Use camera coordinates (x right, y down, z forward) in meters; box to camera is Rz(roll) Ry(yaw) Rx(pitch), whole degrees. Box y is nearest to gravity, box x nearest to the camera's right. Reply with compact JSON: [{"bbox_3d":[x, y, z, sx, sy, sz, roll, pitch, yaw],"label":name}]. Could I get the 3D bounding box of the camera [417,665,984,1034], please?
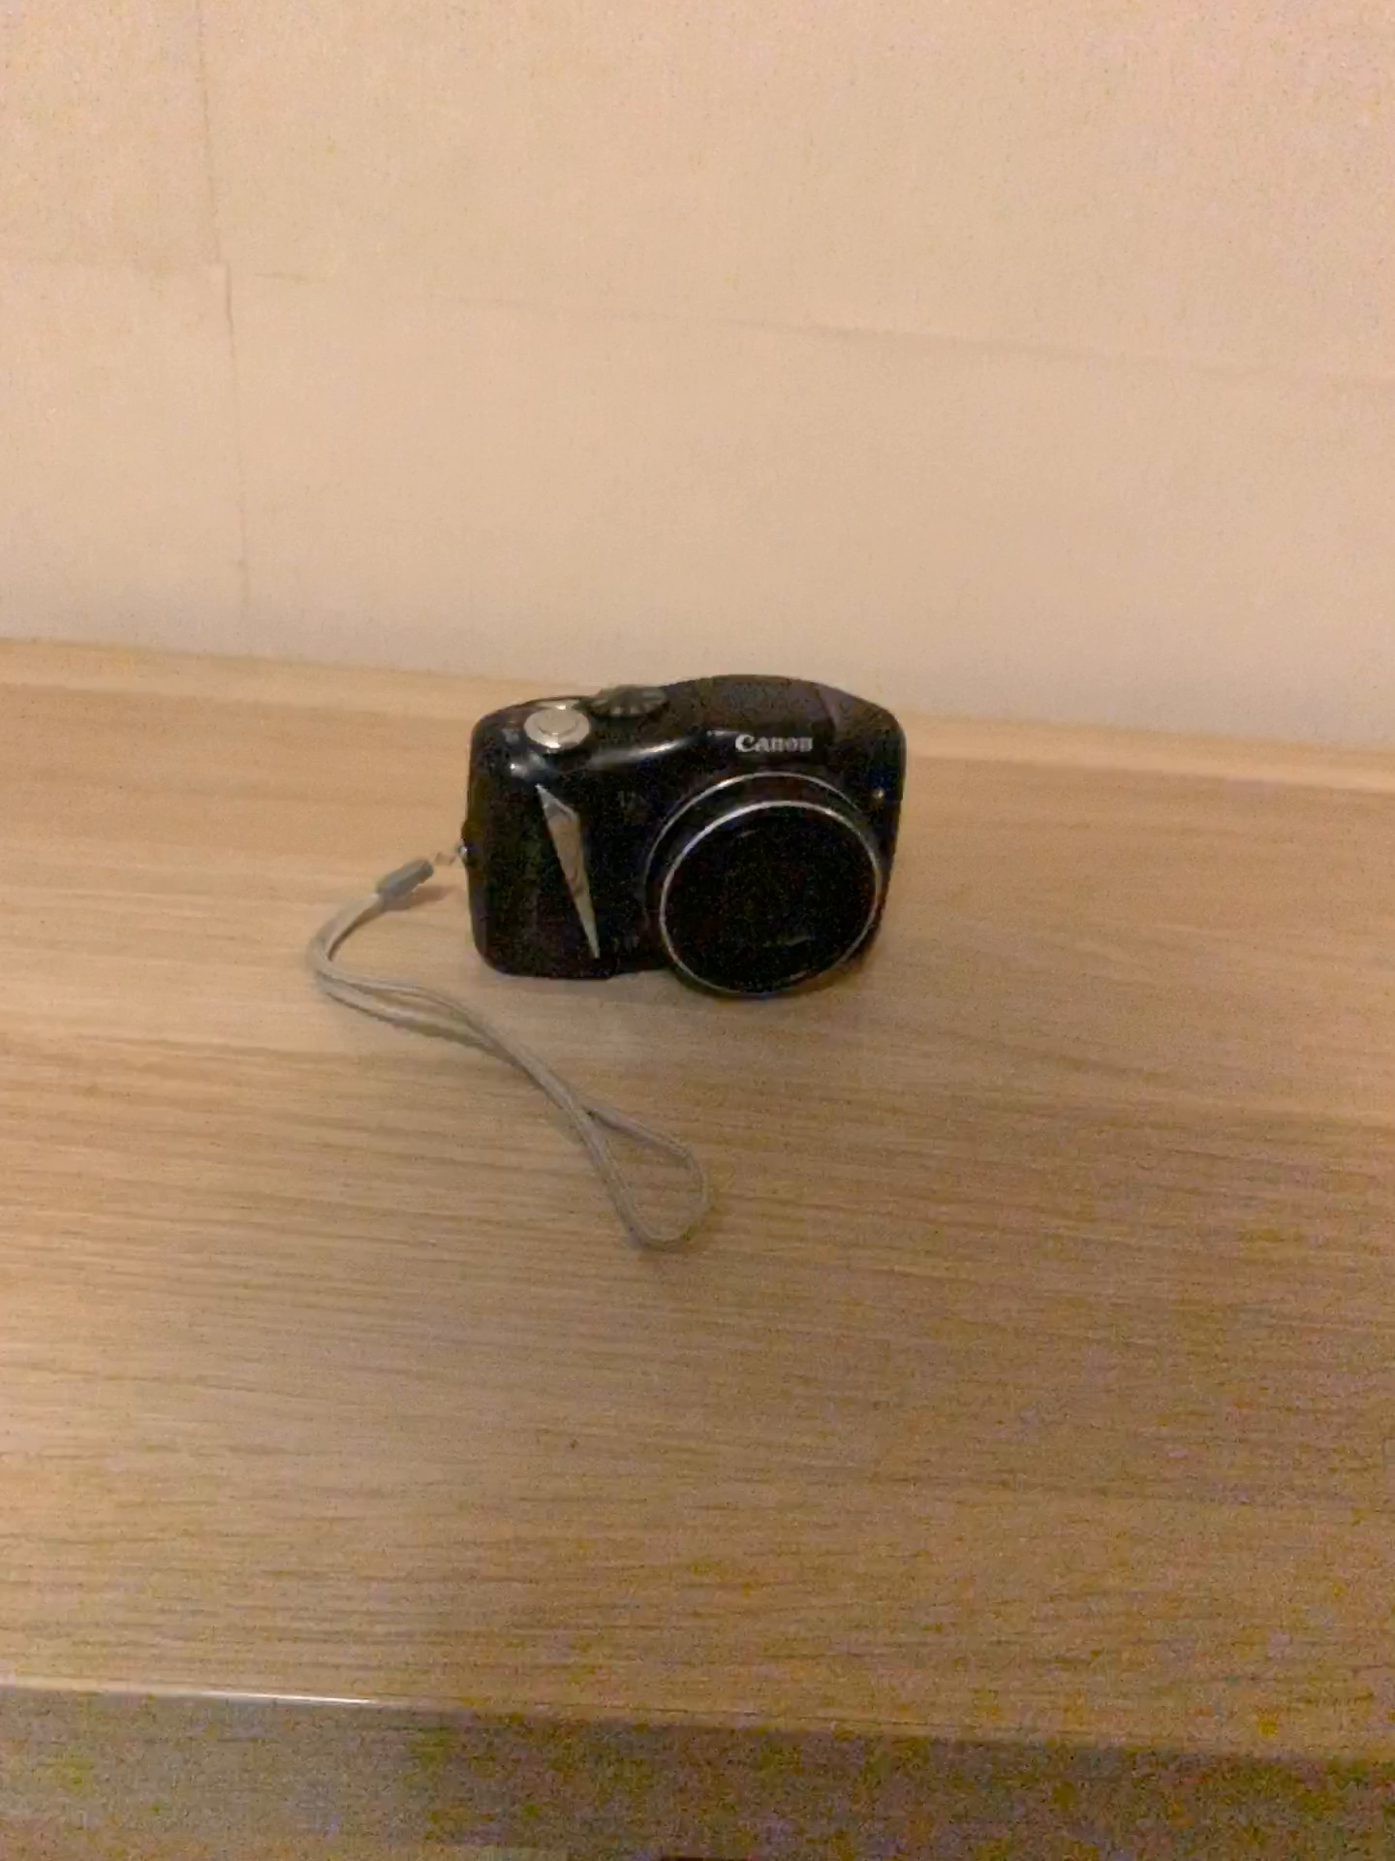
[{"bbox_3d":[-0.004,-0.024,0.356,0.120,0.059,0.069,-4,31,-16],"label":"camera"}]
